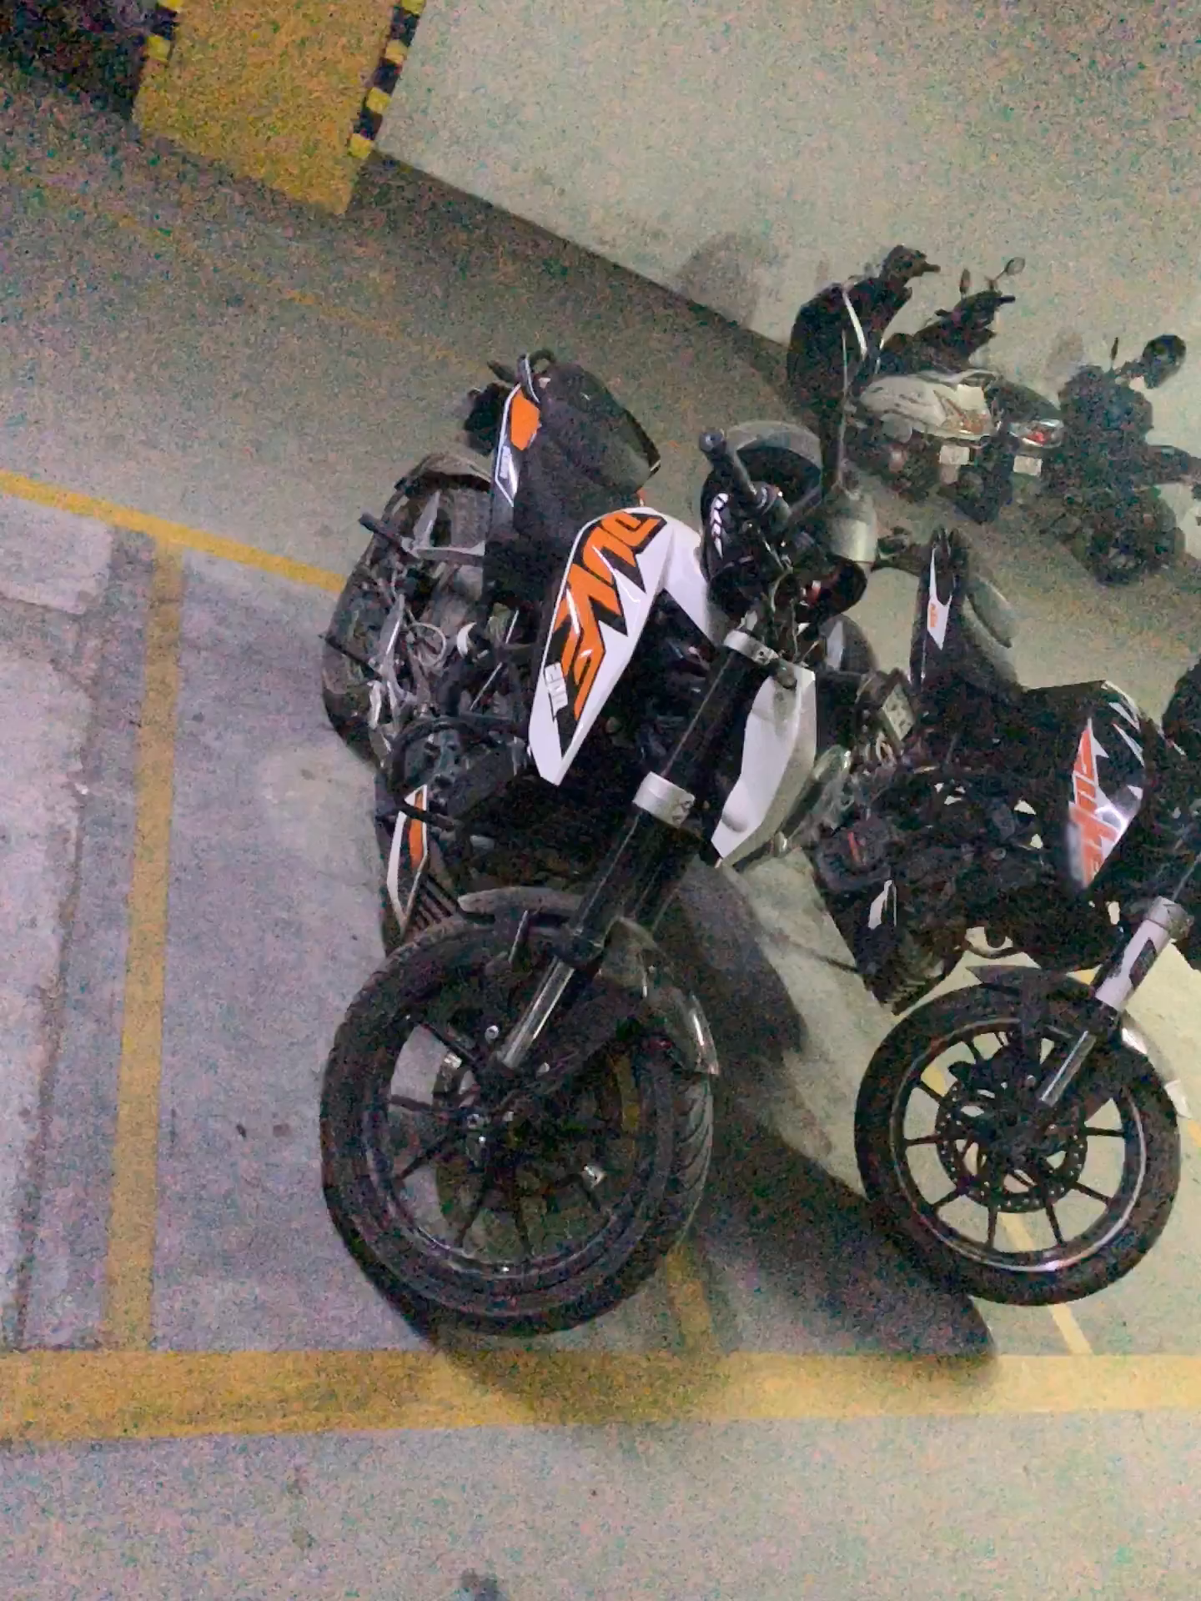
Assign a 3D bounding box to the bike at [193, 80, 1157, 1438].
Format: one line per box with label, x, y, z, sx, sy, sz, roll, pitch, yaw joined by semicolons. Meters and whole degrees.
bike;-0.124;-0.191;2.204;0.804;1.181;1.919;14;39;-28
